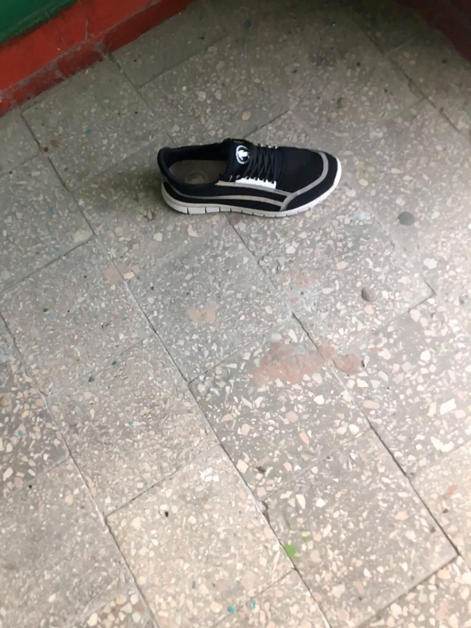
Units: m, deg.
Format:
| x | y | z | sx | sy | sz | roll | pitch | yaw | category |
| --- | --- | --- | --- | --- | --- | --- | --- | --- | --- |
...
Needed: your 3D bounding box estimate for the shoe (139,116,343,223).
| x | y | z | sx | sy | sz | roll | pitch | yaw | category |
| --- | --- | --- | --- | --- | --- | --- | --- | --- | --- |
| 0.012 | -0.211 | 0.773 | 0.280 | 0.120 | 0.100 | 0 | 75 | 5 | shoe |
